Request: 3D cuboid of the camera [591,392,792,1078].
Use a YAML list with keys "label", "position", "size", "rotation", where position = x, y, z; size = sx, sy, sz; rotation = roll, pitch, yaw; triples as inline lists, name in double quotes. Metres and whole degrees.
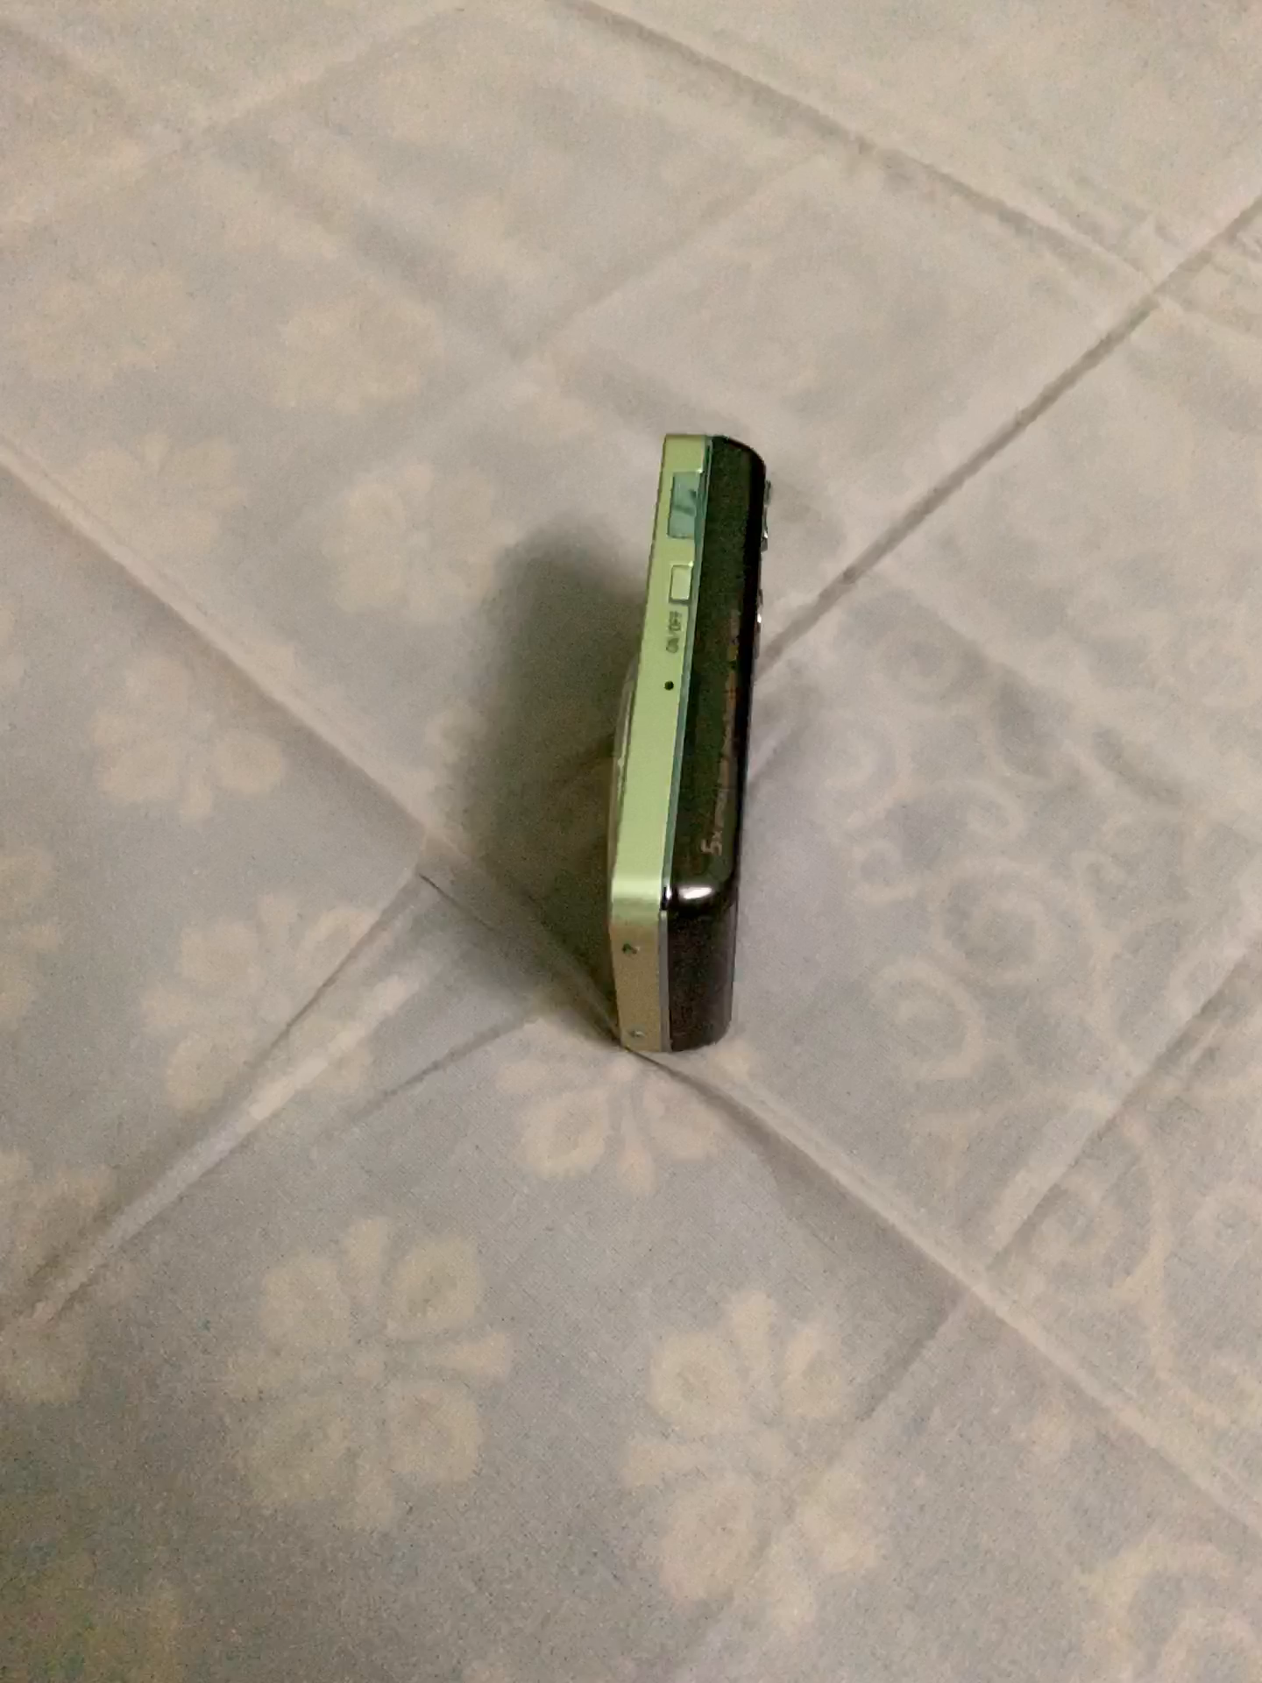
- label: "camera"
  position: [0.010, -0.016, 0.207]
  size: [0.021, 0.060, 0.088]
  rotation: [5, 58, 4]
